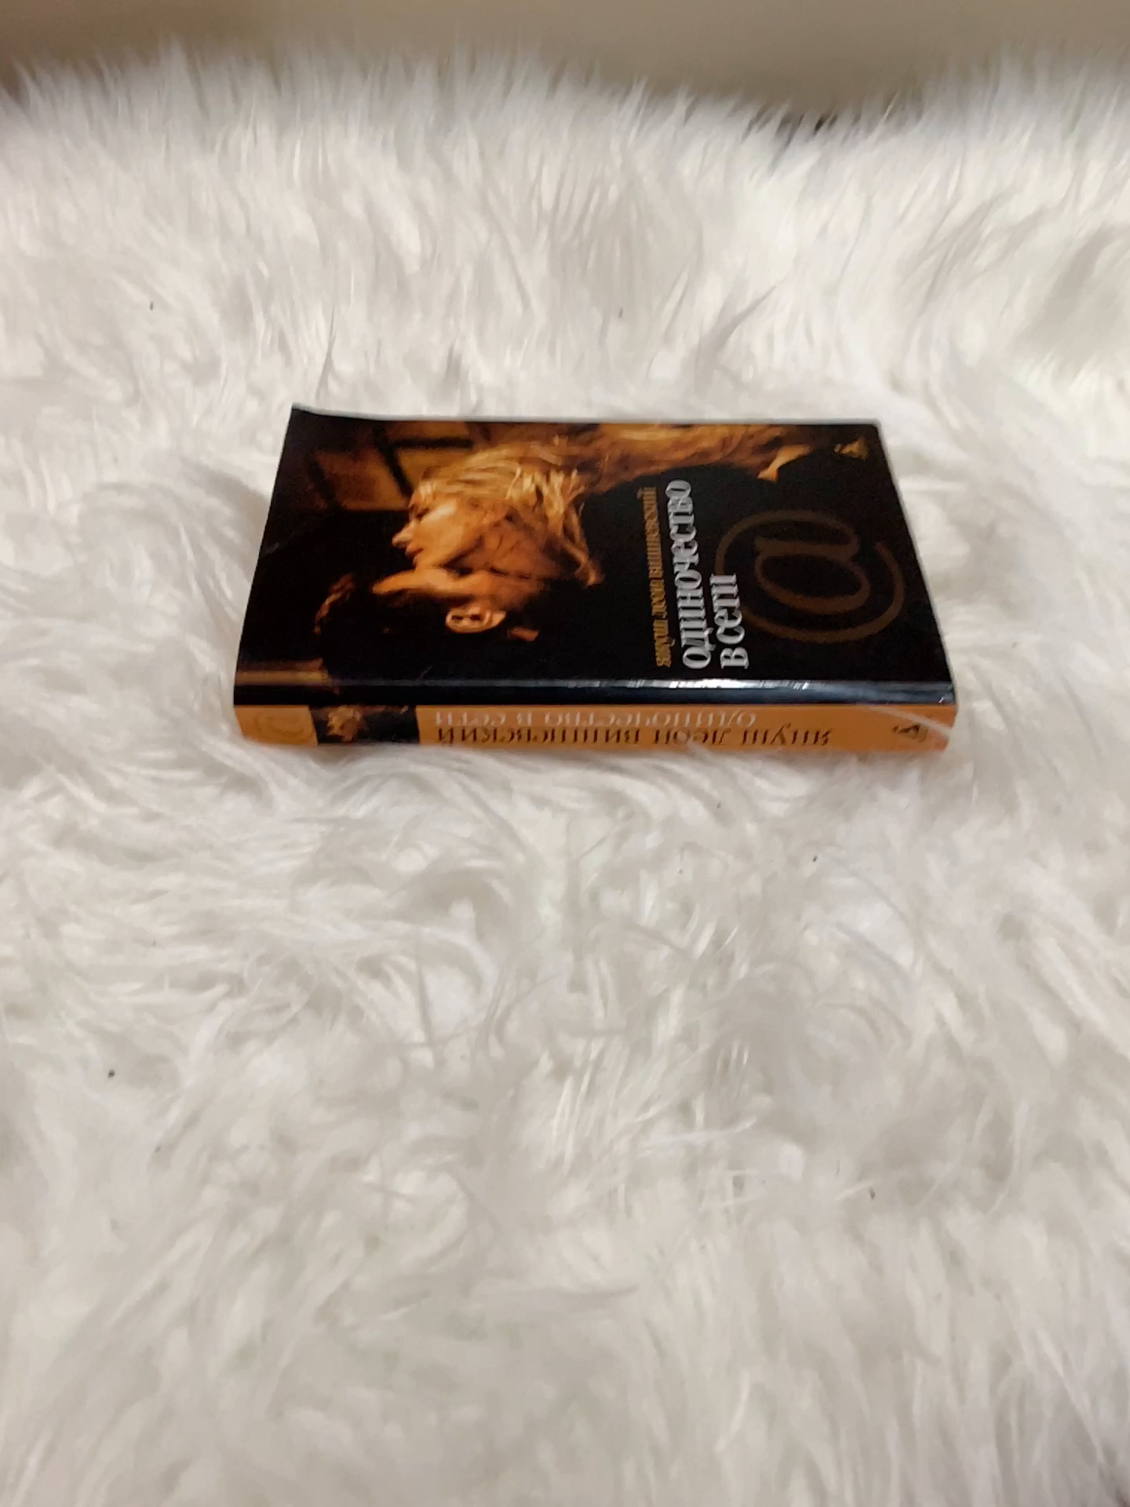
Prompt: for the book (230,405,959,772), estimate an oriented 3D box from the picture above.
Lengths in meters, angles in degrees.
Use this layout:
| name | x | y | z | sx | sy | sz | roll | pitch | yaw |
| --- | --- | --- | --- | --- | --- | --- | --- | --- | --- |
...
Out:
| name | x | y | z | sx | sy | sz | roll | pitch | yaw |
| --- | --- | --- | --- | --- | --- | --- | --- | --- | --- |
| book | 0.006 | -0.050 | 0.327 | 0.176 | 0.030 | 0.114 | 1 | 51 | -3 |
